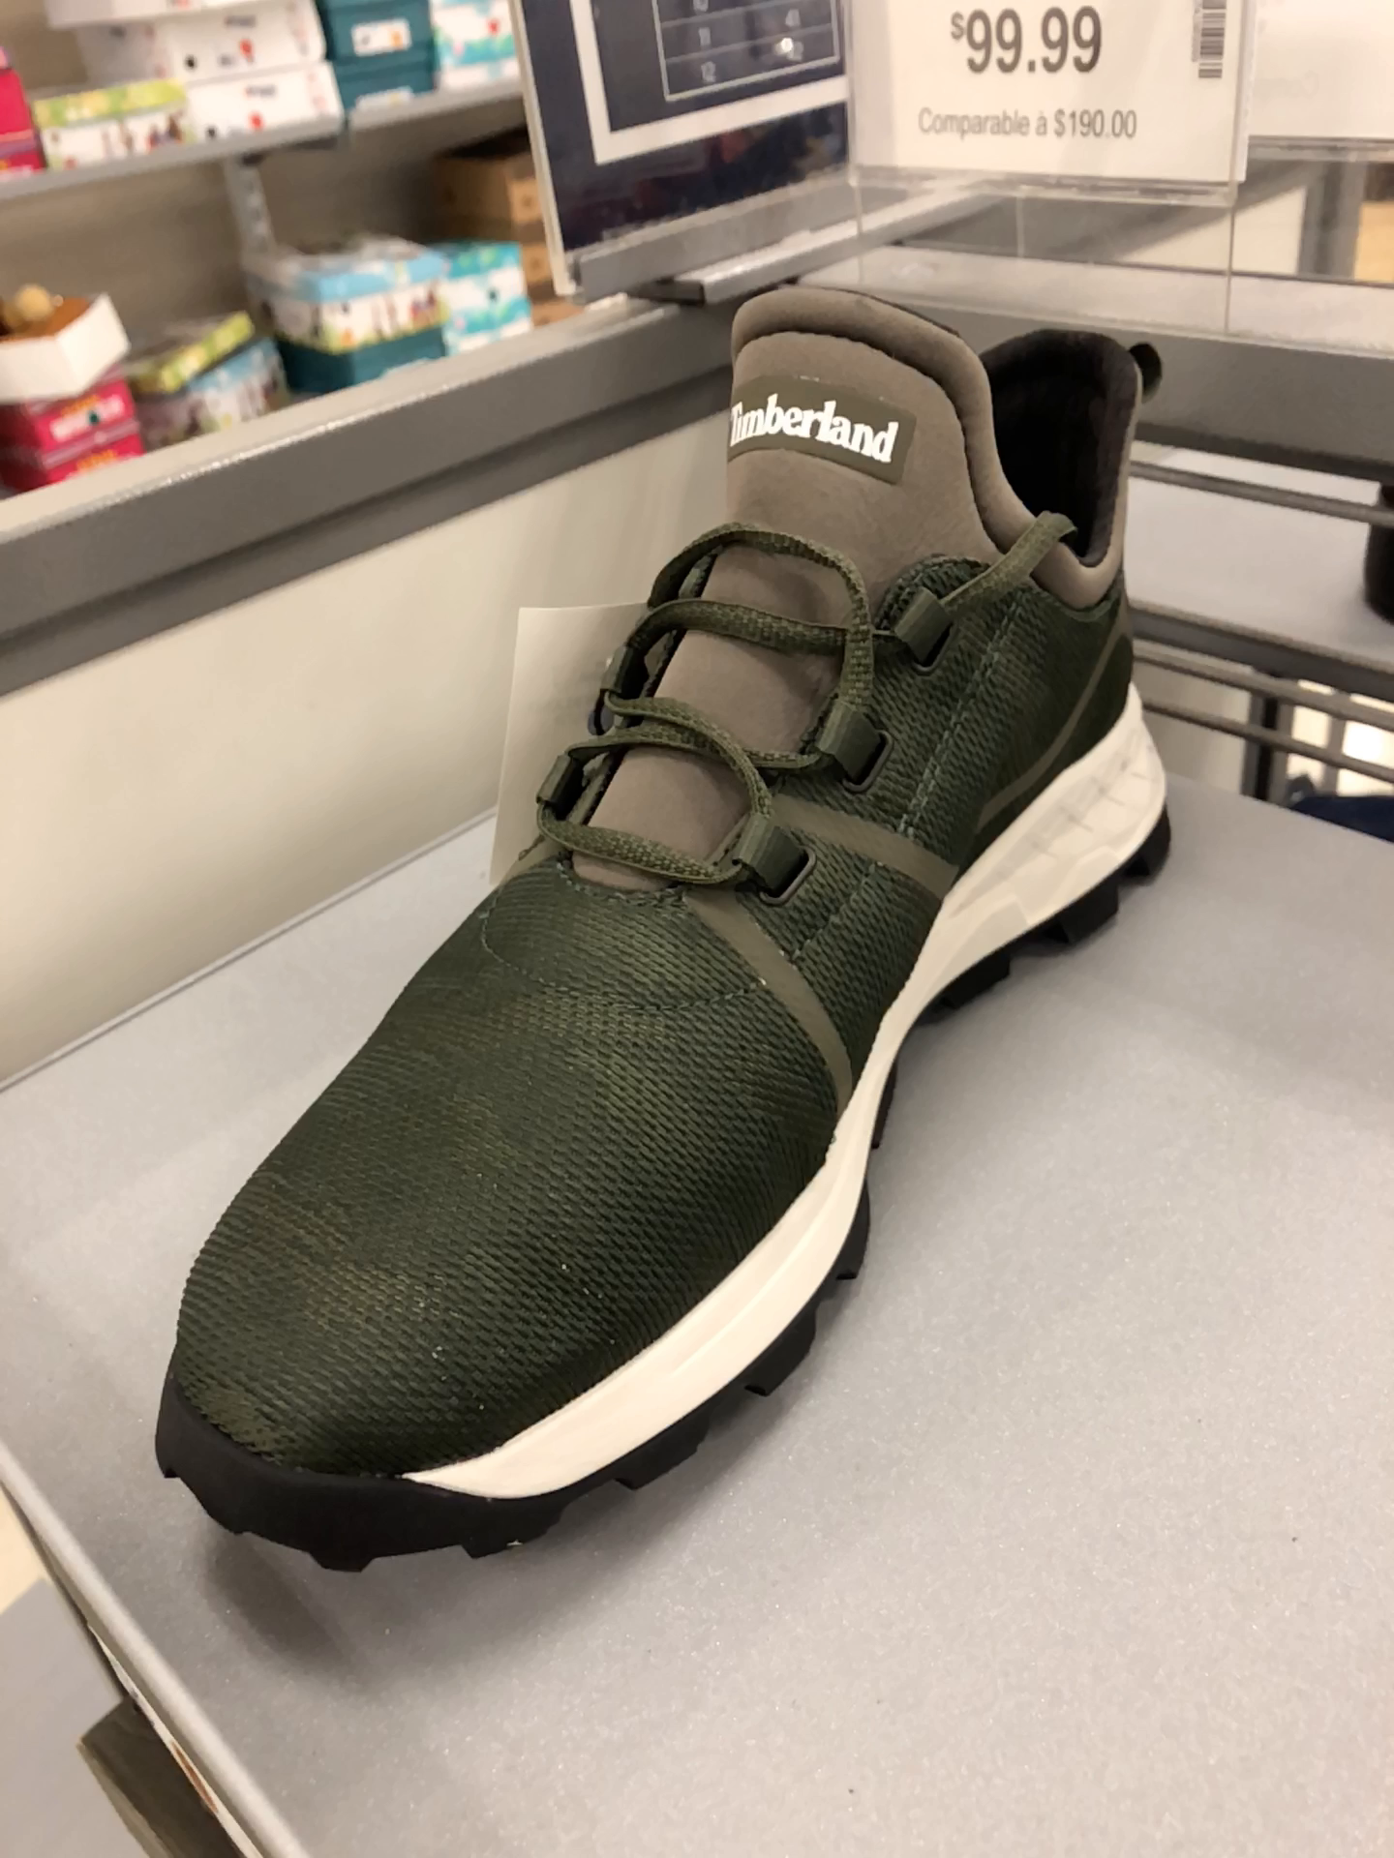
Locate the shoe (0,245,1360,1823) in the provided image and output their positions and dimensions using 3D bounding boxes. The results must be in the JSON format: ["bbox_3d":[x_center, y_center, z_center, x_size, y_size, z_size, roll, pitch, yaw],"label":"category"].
[{"bbox_3d":[0.009,-0.025,0.321,0.130,0.149,0.312,19,41,33],"label":"shoe"}]
